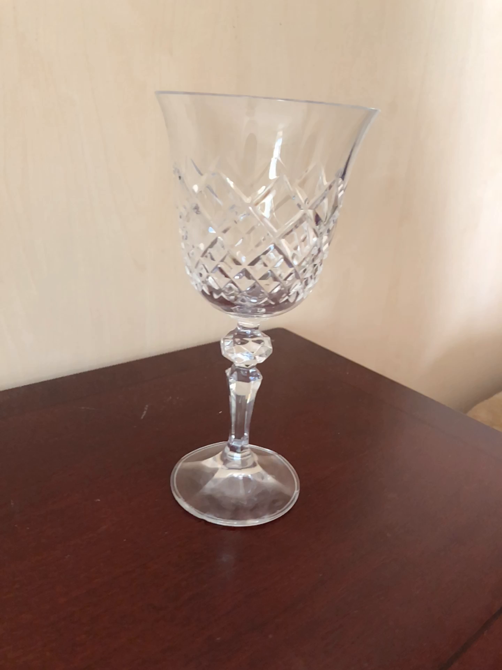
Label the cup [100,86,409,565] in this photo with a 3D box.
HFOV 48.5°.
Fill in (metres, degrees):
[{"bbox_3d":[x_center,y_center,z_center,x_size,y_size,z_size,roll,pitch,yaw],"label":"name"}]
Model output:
[{"bbox_3d":[0.001,-0.012,0.248,0.091,0.171,0.092,4,21,-2],"label":"cup"}]
